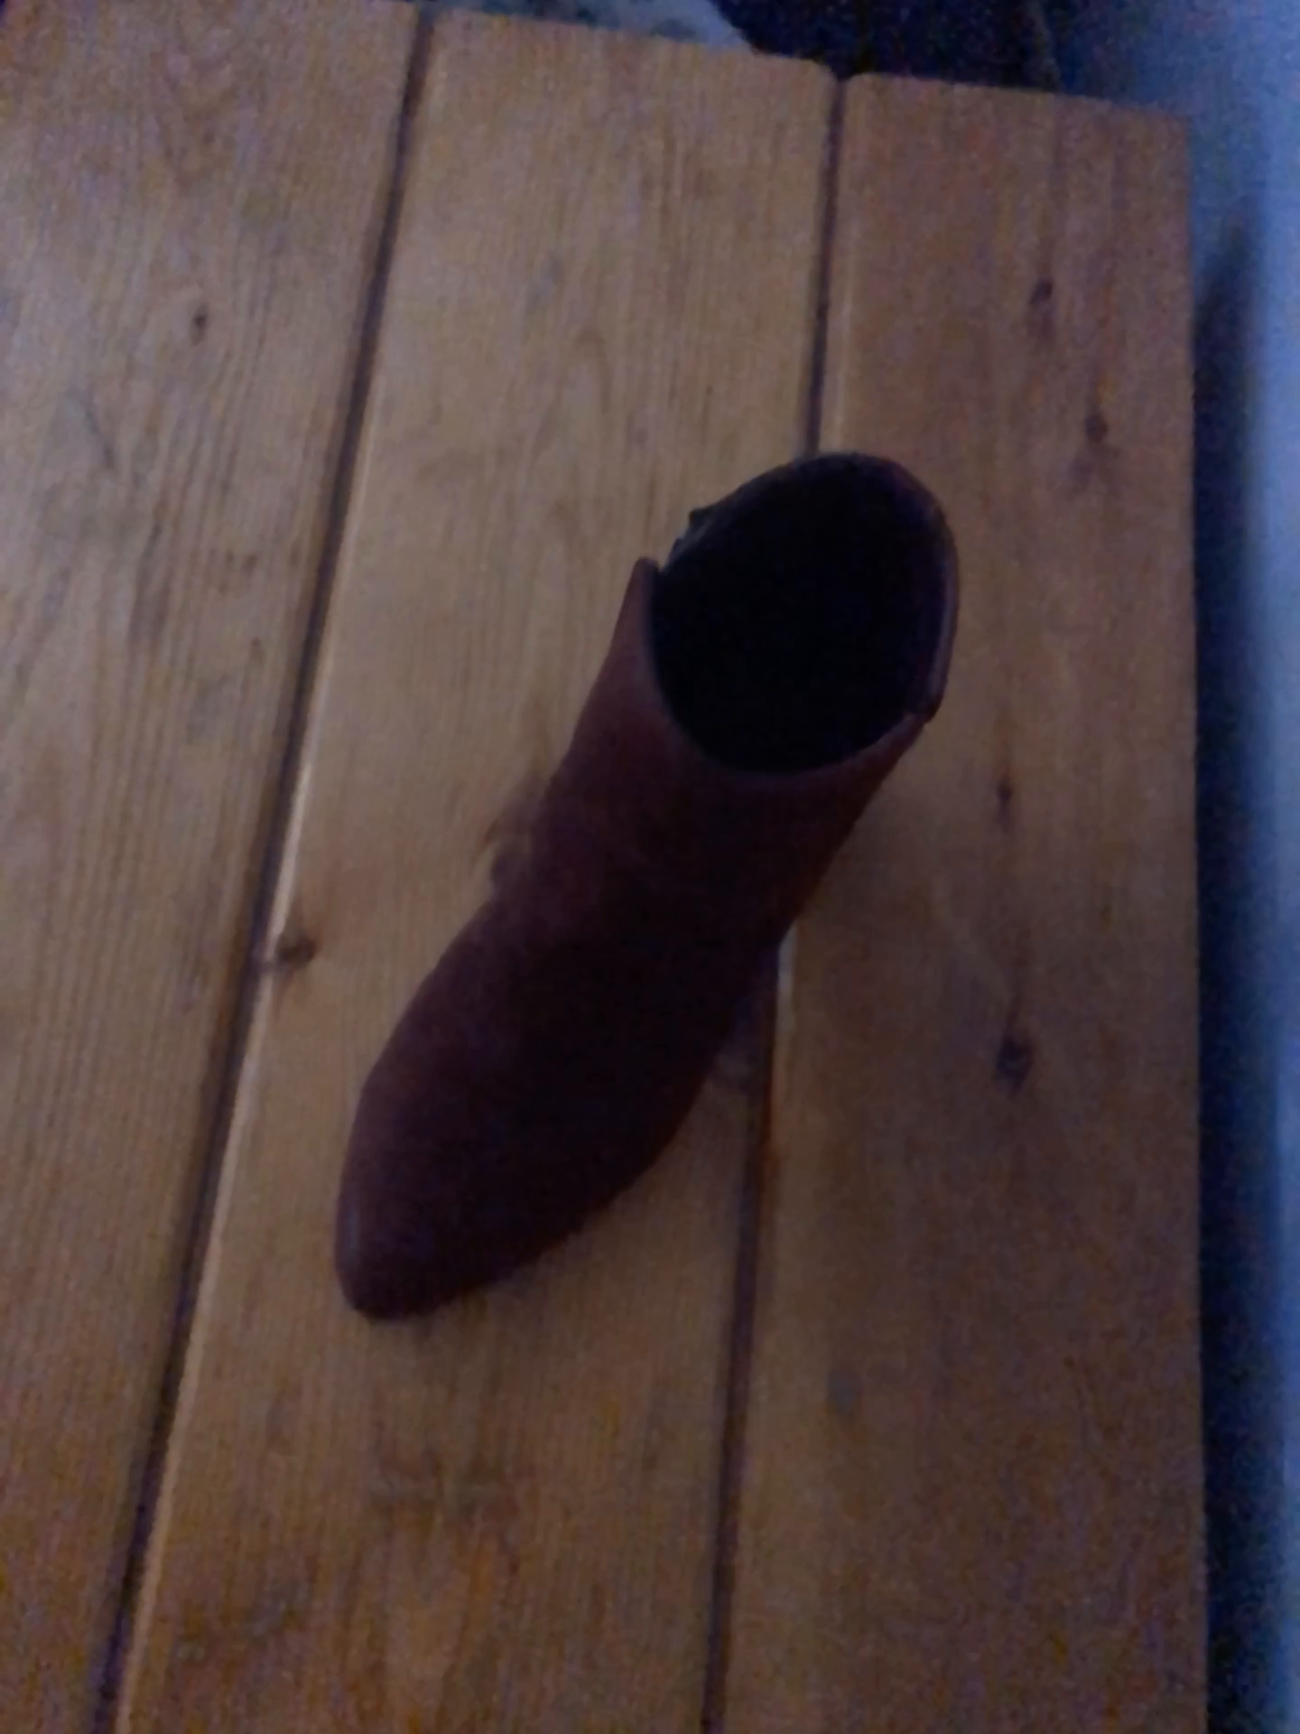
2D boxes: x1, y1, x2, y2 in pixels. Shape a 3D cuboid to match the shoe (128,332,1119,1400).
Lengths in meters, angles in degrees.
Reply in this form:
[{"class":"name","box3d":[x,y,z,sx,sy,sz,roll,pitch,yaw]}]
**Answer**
[{"class":"shoe","box3d":[-0.001,0.008,0.395,0.090,0.150,0.250,36,73,8]}]
